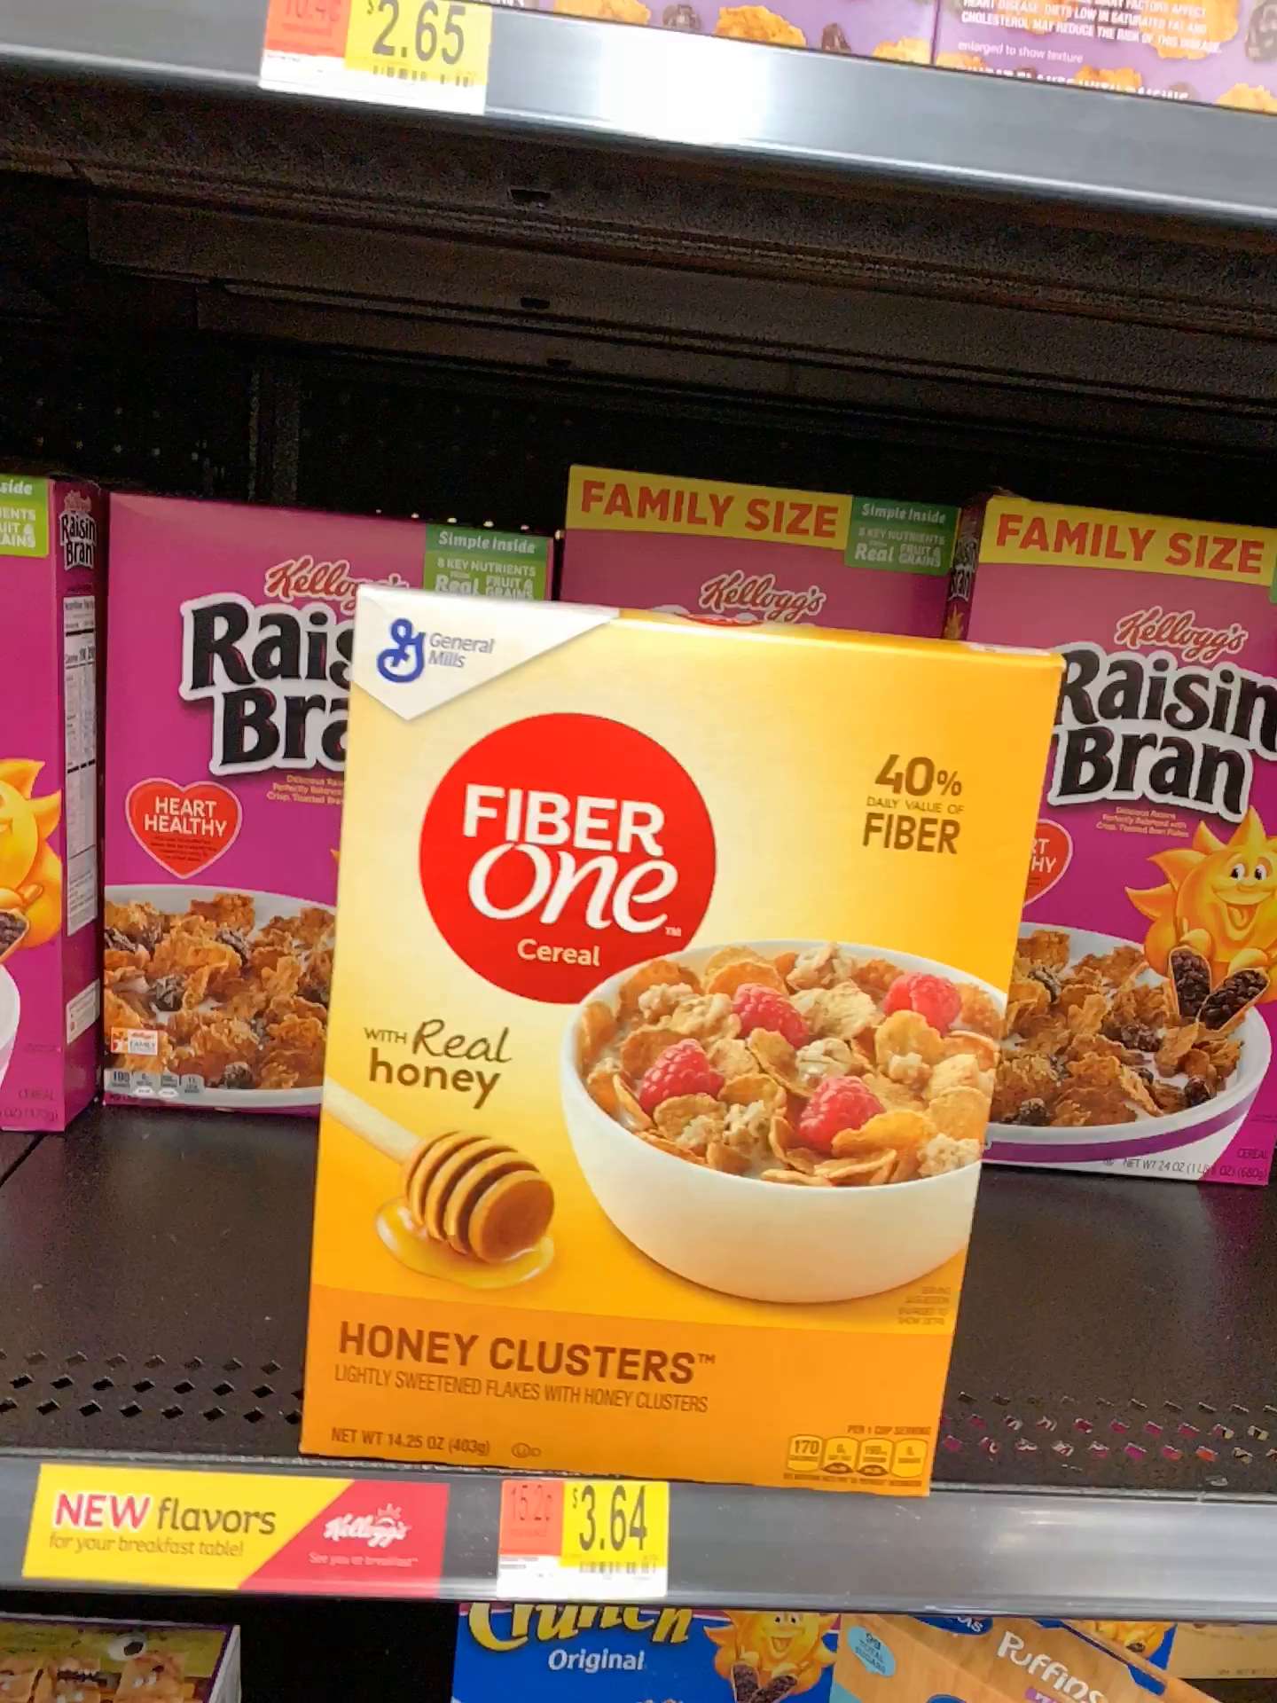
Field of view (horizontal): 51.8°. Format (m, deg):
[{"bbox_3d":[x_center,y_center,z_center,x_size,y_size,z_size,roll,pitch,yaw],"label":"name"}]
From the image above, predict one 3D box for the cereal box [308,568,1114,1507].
[{"bbox_3d":[0.013,0.057,0.392,0.200,0.259,0.050,5,11,-3],"label":"cereal box"}]
